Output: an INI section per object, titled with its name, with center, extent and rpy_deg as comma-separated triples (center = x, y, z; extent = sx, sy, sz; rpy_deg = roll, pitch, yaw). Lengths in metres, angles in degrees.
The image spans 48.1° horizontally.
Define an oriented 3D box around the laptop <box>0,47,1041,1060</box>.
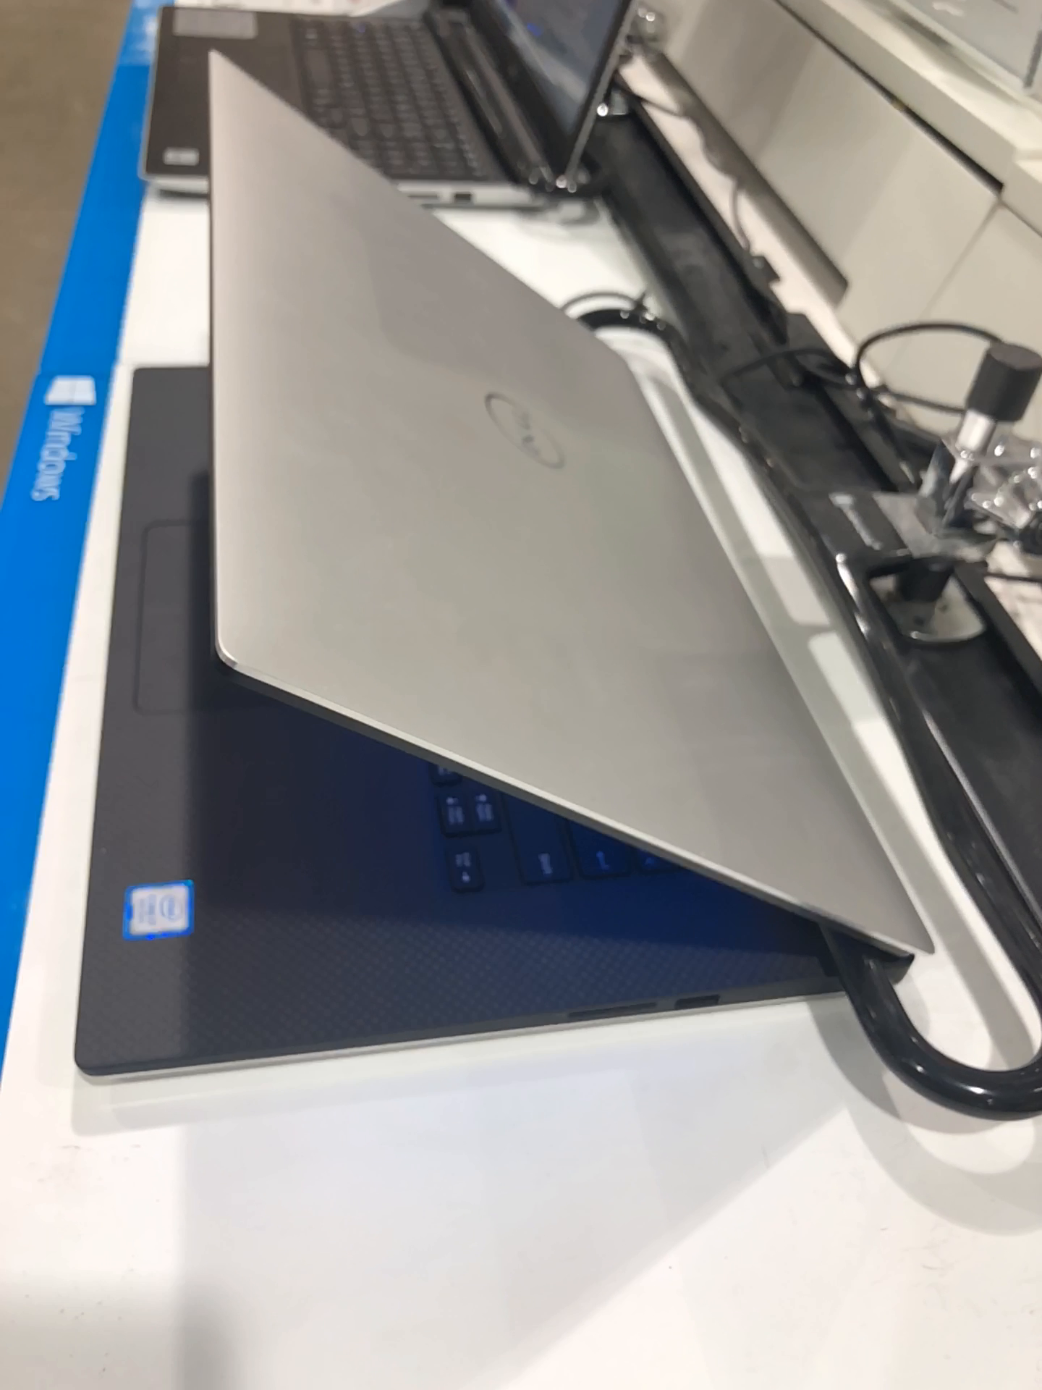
[laptop]
center = -0.029, -0.085, 0.386
extent = 0.216, 0.133, 0.347
rpy_deg = -5, 44, -12
